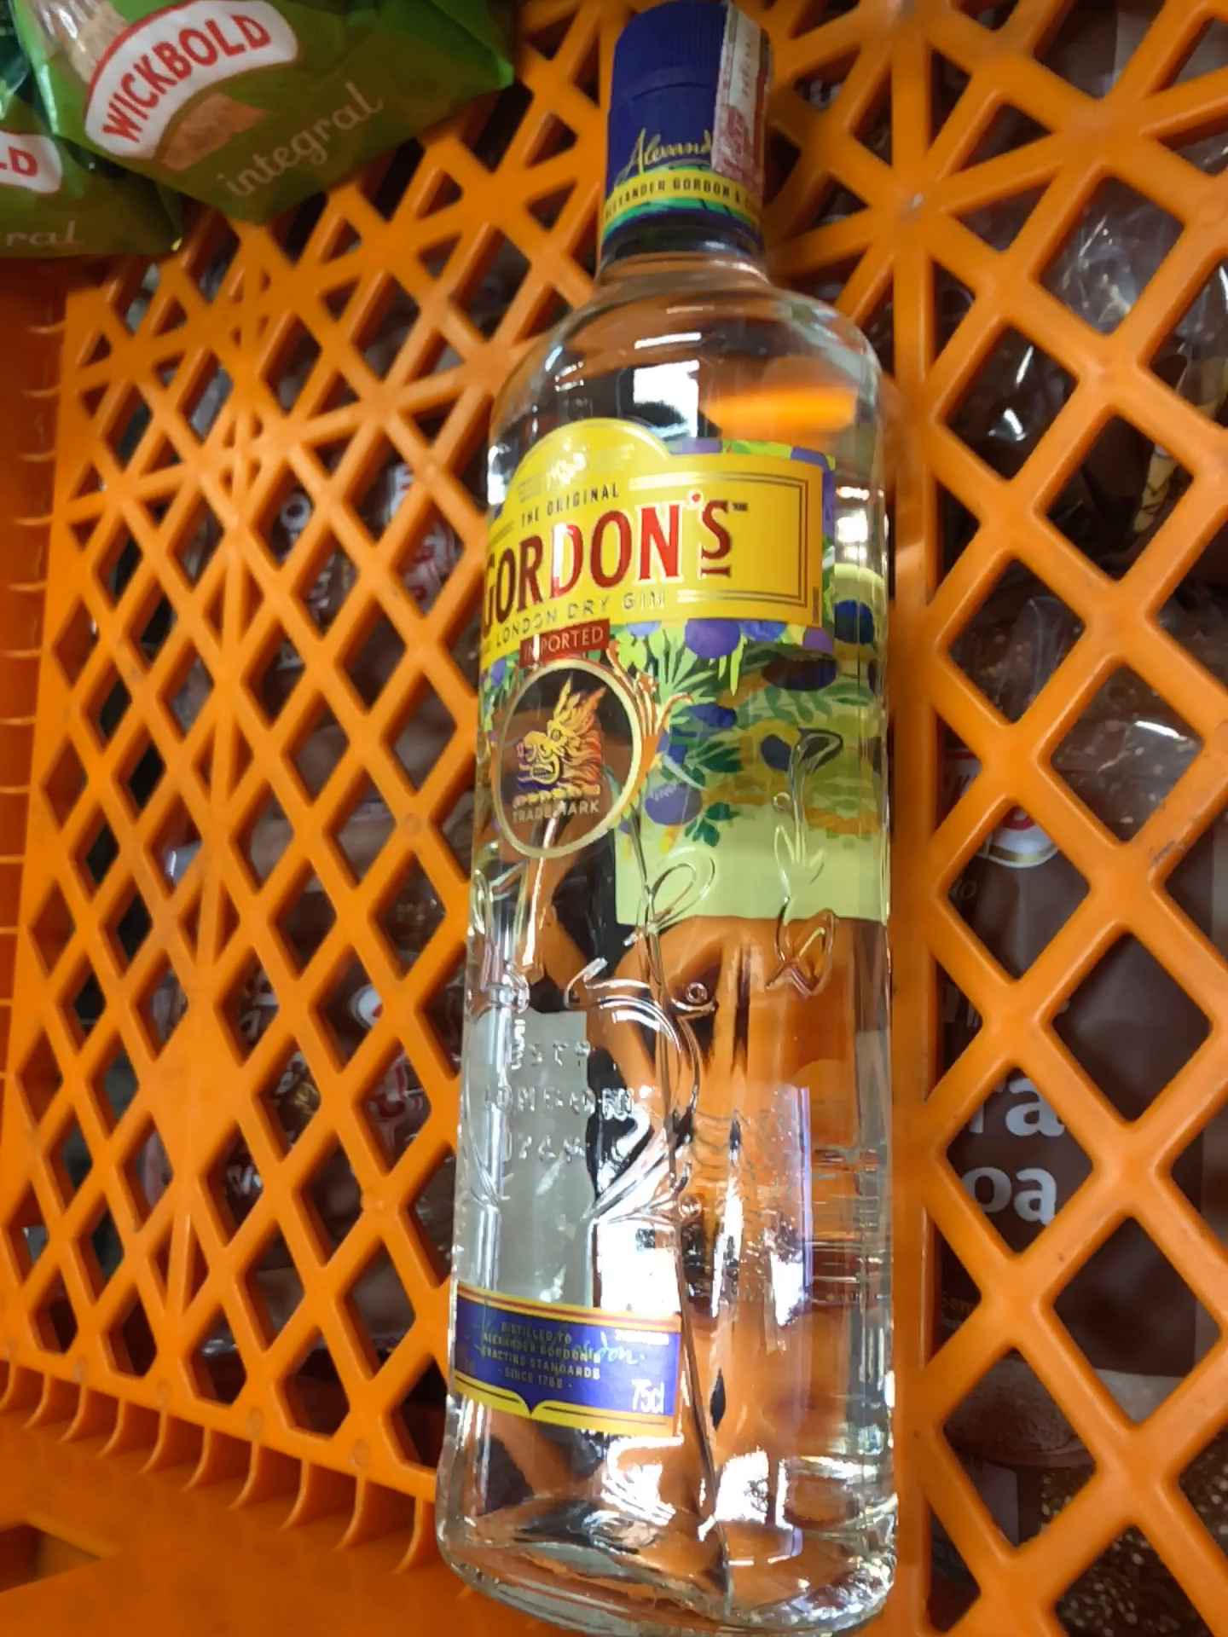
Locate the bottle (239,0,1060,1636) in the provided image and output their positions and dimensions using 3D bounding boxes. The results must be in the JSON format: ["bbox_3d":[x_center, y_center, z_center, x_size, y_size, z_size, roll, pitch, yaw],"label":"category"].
[{"bbox_3d":[0.011,-0.024,0.254,0.100,0.100,0.310,-5,80,36],"label":"bottle"}]
